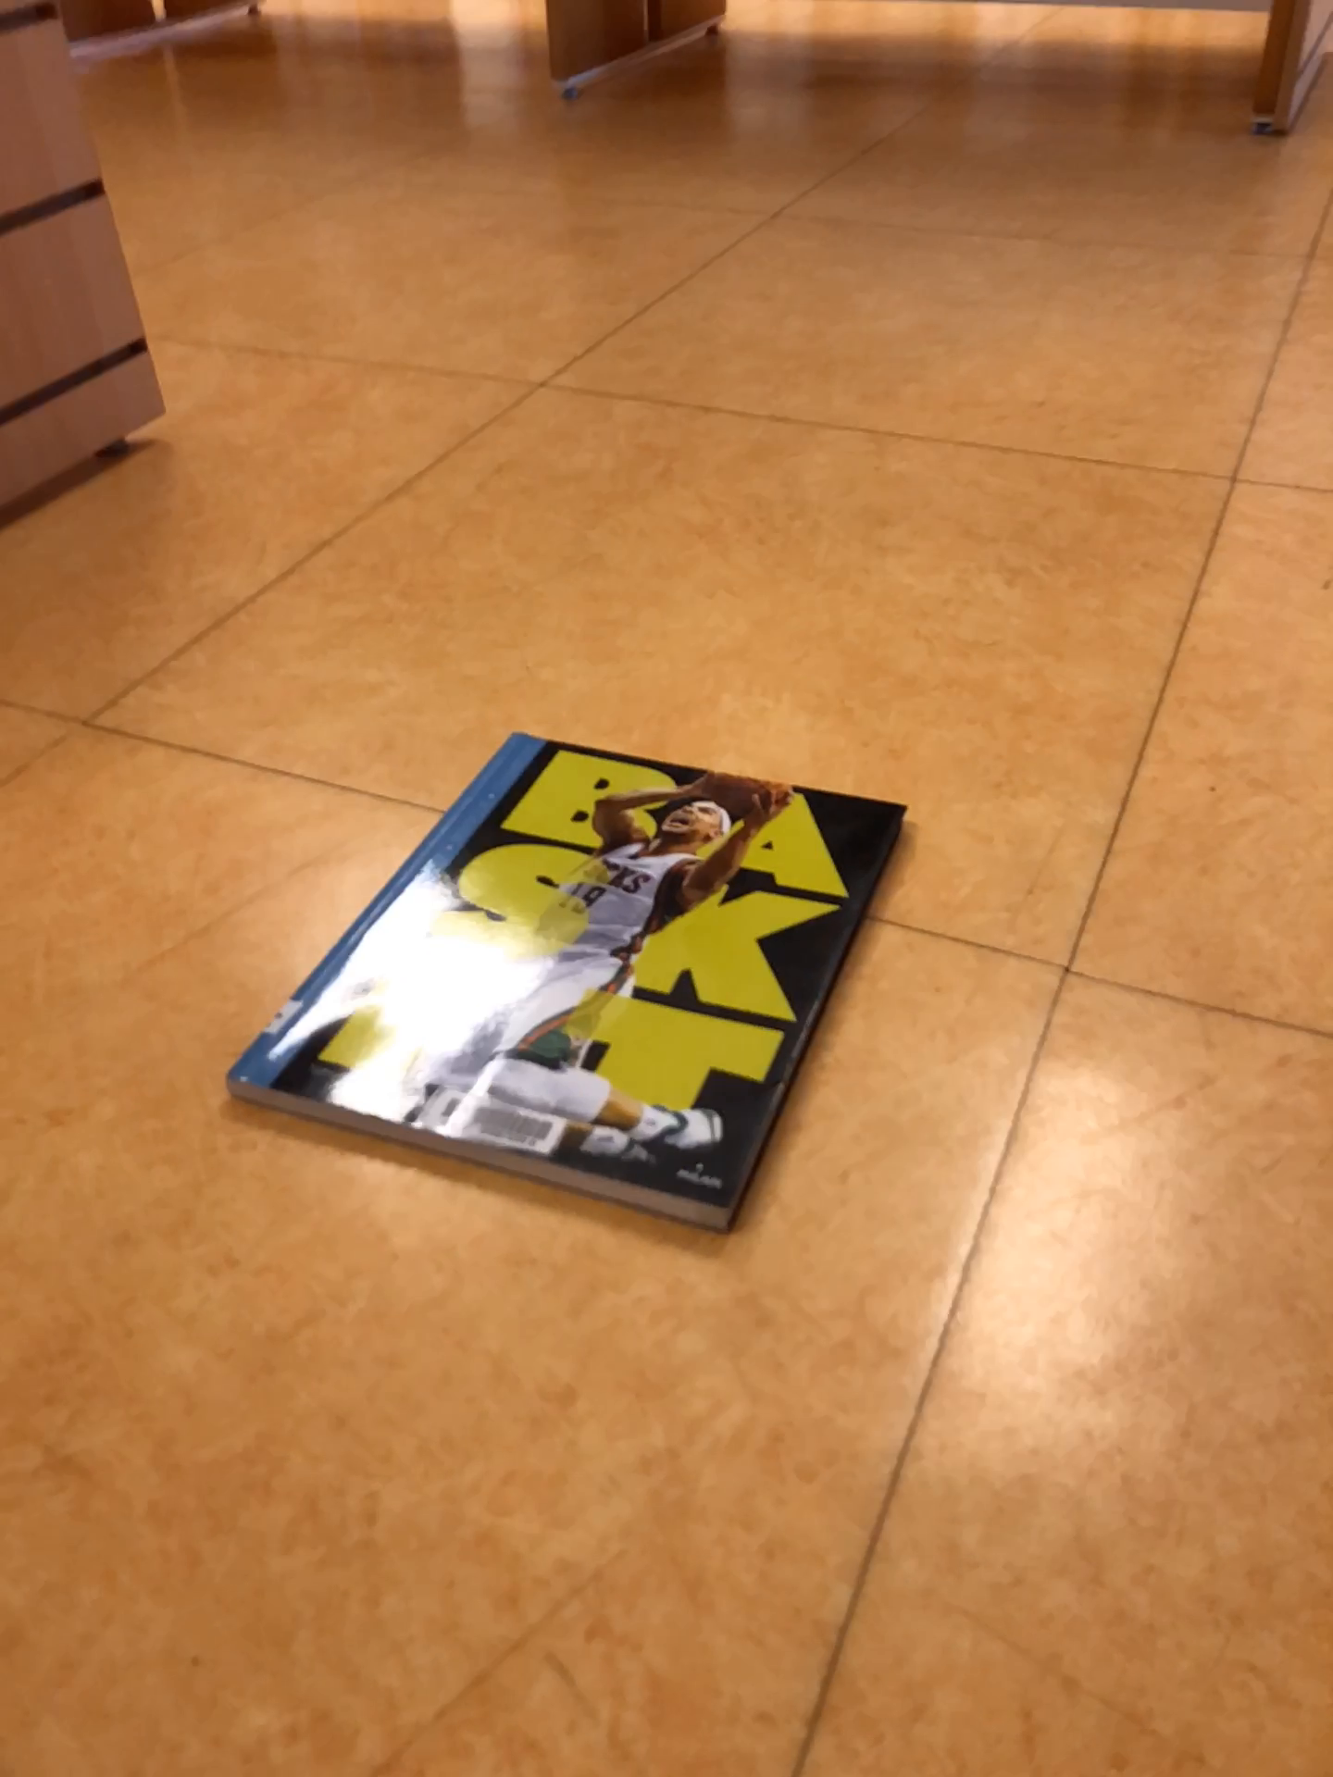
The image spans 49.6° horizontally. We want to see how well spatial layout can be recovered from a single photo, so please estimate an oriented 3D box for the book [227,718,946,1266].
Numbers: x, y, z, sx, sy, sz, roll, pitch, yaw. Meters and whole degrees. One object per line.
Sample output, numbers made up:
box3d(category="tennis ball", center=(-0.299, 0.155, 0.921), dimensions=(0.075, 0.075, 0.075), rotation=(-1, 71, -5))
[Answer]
box3d(category="book", center=(-0.016, 0.019, 0.567), dimensions=(0.200, 0.020, 0.246), rotation=(12, 40, 17))
